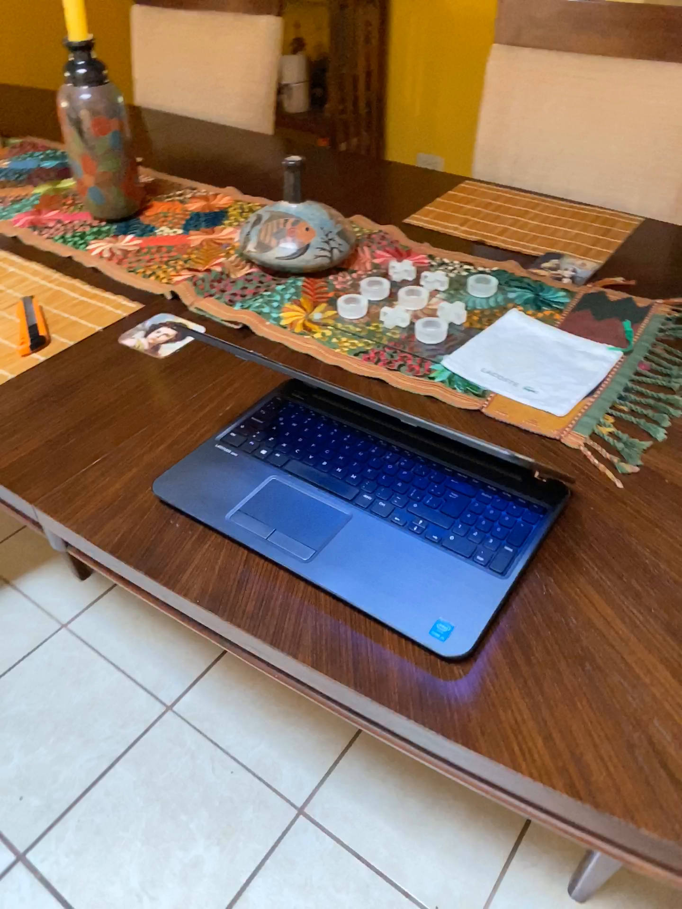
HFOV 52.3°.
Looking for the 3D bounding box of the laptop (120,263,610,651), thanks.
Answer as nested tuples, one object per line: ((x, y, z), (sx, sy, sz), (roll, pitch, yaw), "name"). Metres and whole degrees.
((0.022, -0.026, 0.677), (0.356, 0.158, 0.249), (24, 46, 26), "laptop")
